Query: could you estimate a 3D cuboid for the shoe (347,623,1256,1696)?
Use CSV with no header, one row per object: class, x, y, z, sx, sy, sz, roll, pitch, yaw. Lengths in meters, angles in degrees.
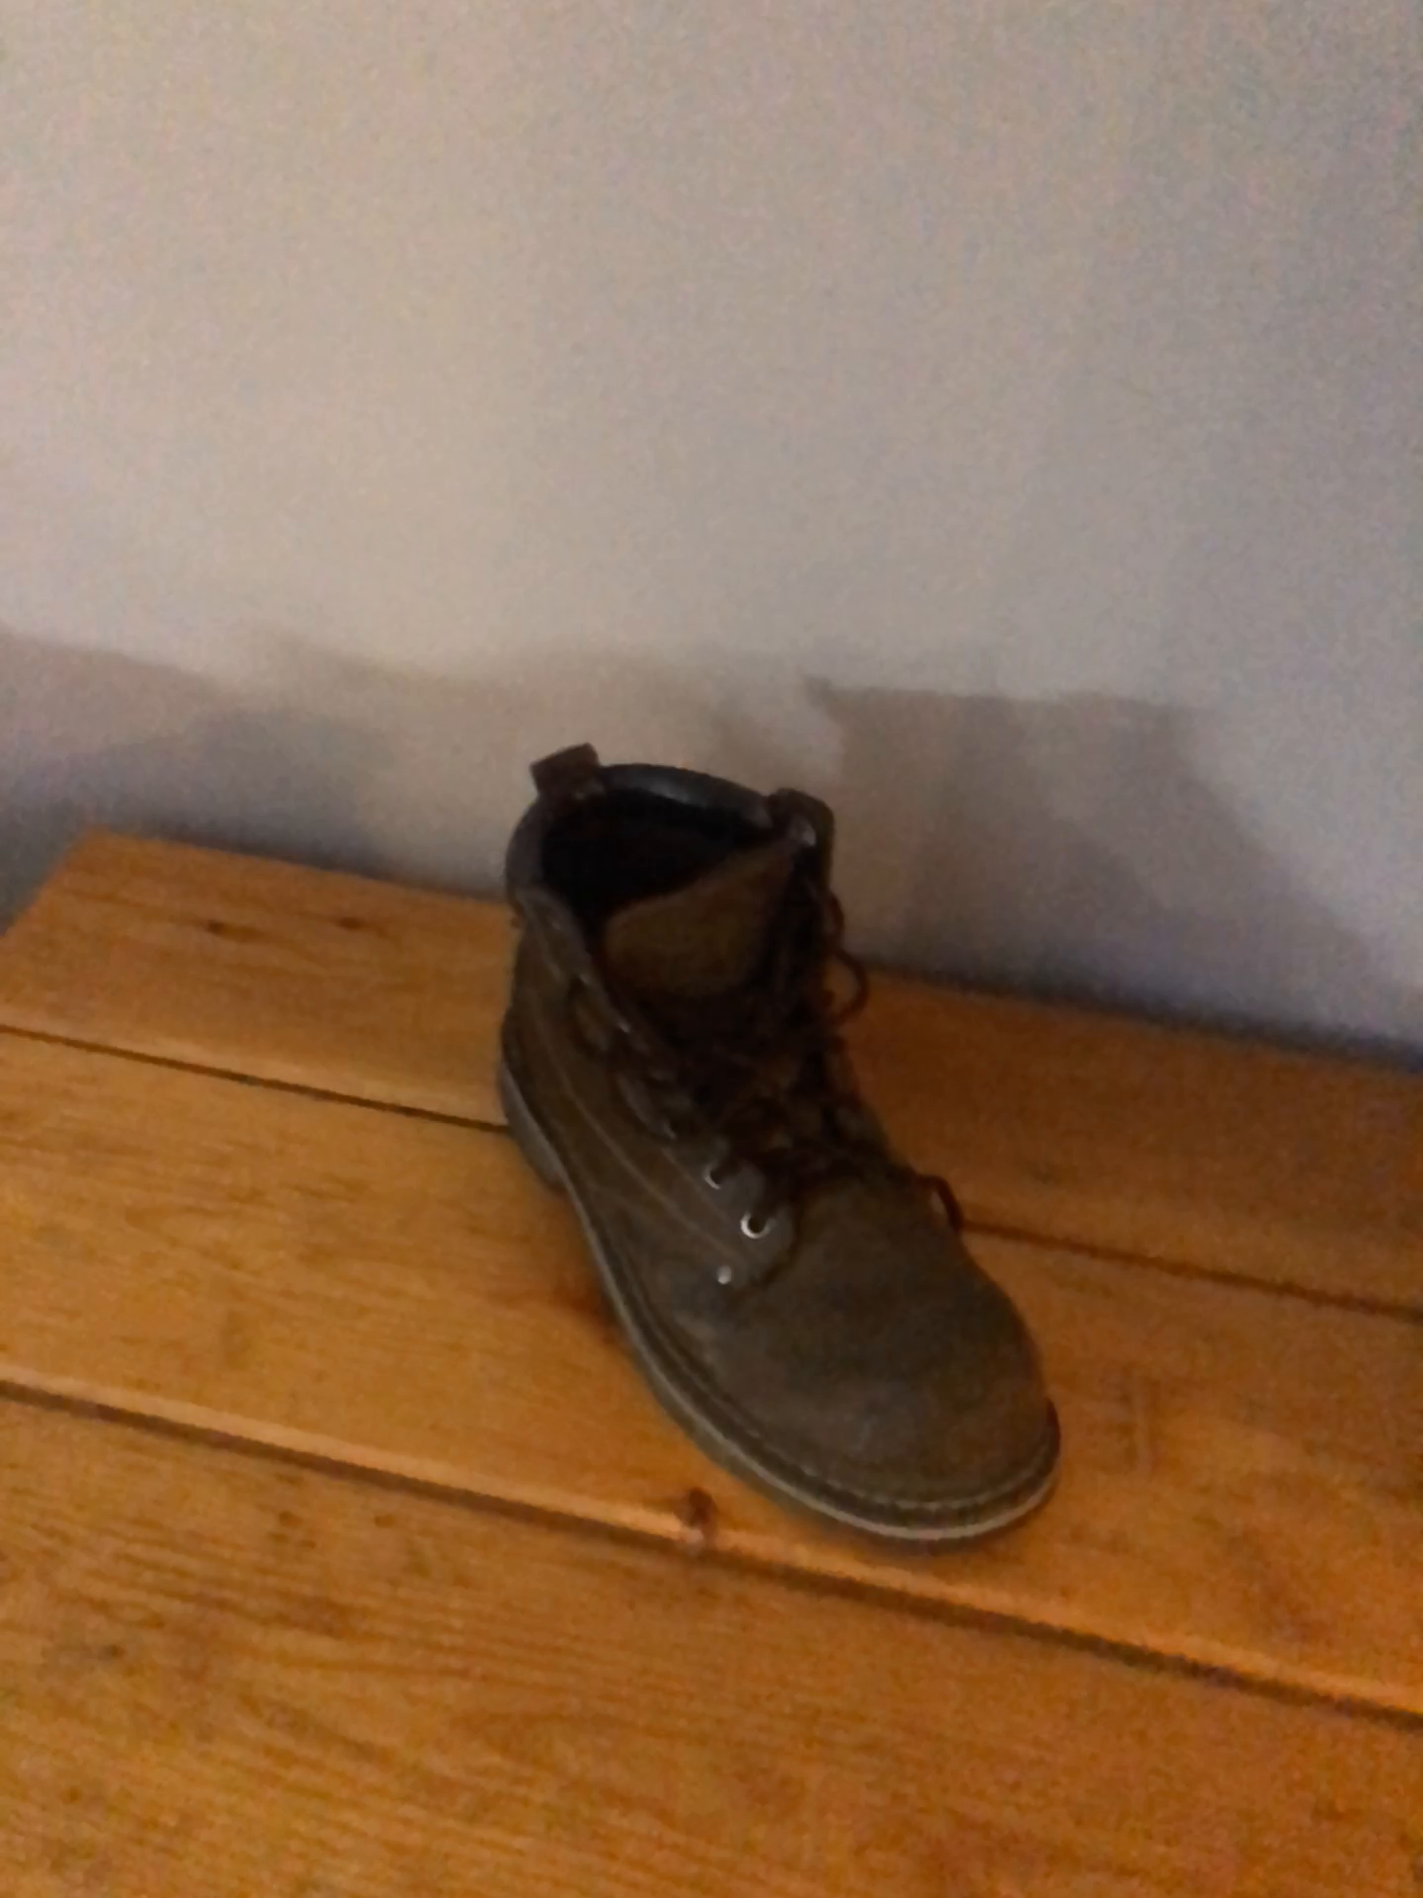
shoe,0.003,0.053,0.562,0.130,0.189,0.321,-21,47,-26
